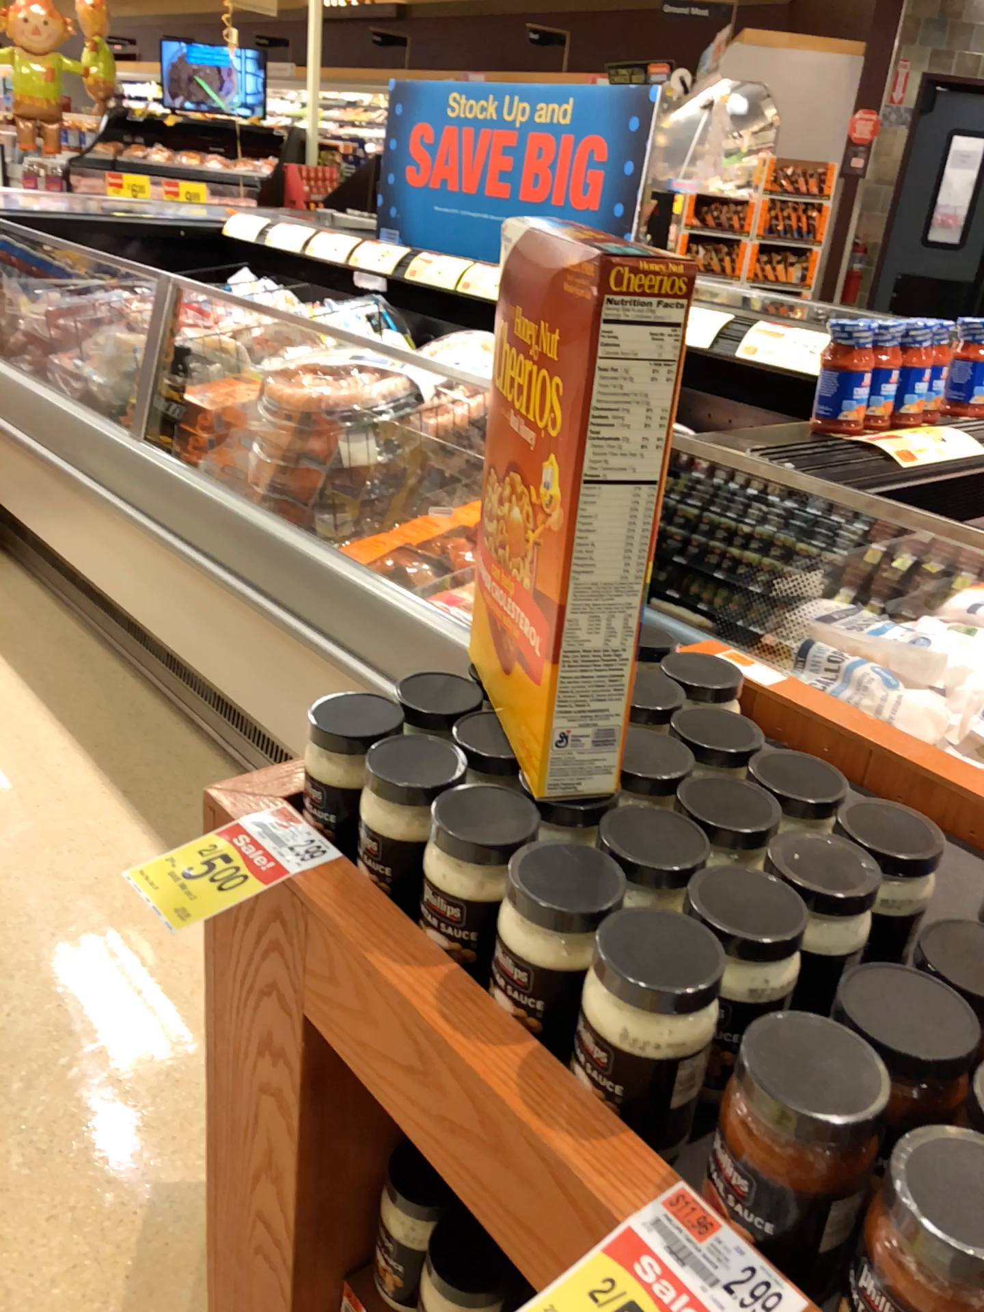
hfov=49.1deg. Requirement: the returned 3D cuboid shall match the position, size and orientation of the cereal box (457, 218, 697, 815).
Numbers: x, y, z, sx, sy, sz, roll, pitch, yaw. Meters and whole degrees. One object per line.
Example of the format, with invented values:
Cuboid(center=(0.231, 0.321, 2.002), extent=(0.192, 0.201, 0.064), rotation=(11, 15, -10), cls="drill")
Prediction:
Cuboid(center=(0.033, -0.088, 0.617), extent=(0.050, 0.288, 0.201), rotation=(0, 24, -13), cls="cereal box")
